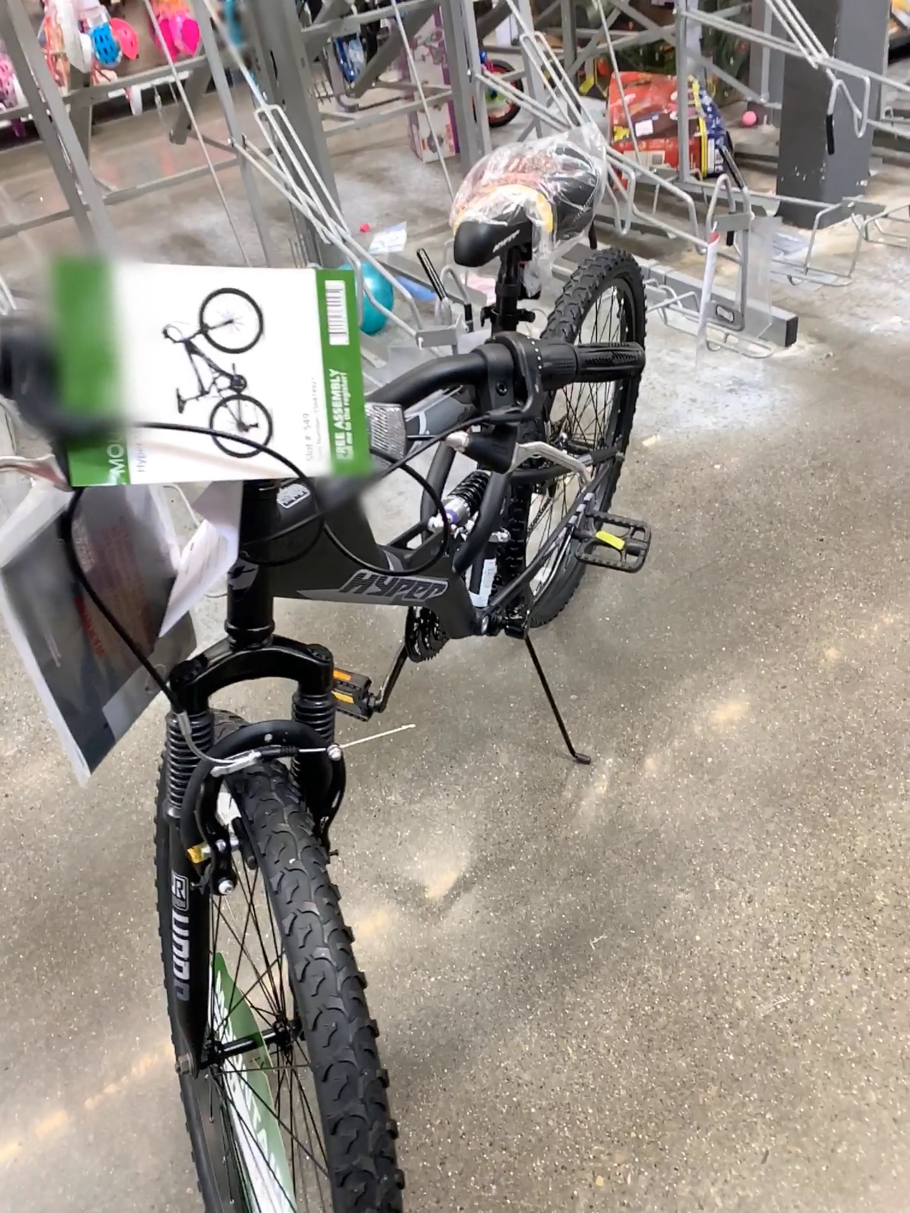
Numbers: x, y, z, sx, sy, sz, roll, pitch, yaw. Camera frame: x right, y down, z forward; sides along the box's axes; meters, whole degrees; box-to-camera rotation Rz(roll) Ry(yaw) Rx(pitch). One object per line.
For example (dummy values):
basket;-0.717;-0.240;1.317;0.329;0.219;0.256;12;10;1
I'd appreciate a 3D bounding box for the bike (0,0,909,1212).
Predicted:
bike;0.201;-0.075;1.219;0.690;1.089;1.689;3;43;17
